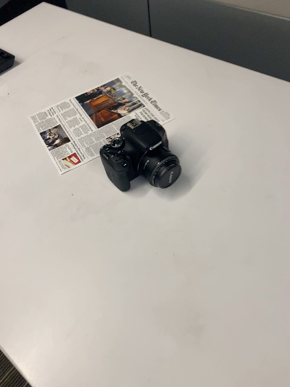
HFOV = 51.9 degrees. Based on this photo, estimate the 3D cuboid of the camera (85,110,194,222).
[{"bbox_3d":[-0.007,-0.058,0.591,0.146,0.100,0.143,-36,59,-16],"label":"camera"}]
